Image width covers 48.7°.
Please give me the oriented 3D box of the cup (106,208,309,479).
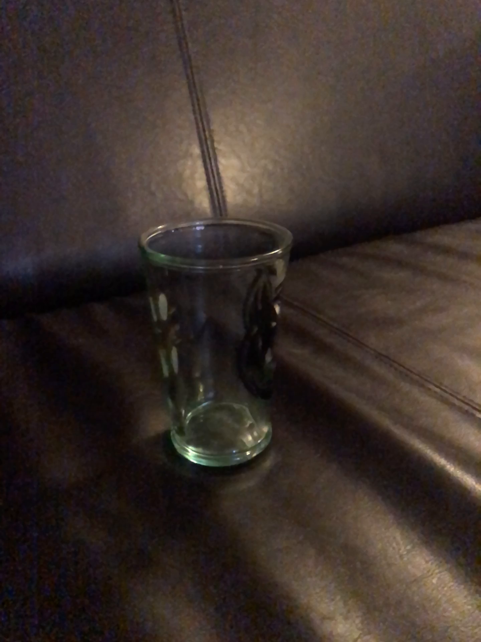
[{"bbox_3d":[-0.011,0.007,0.294,0.087,0.117,0.085,0,25,0],"label":"cup"}]
